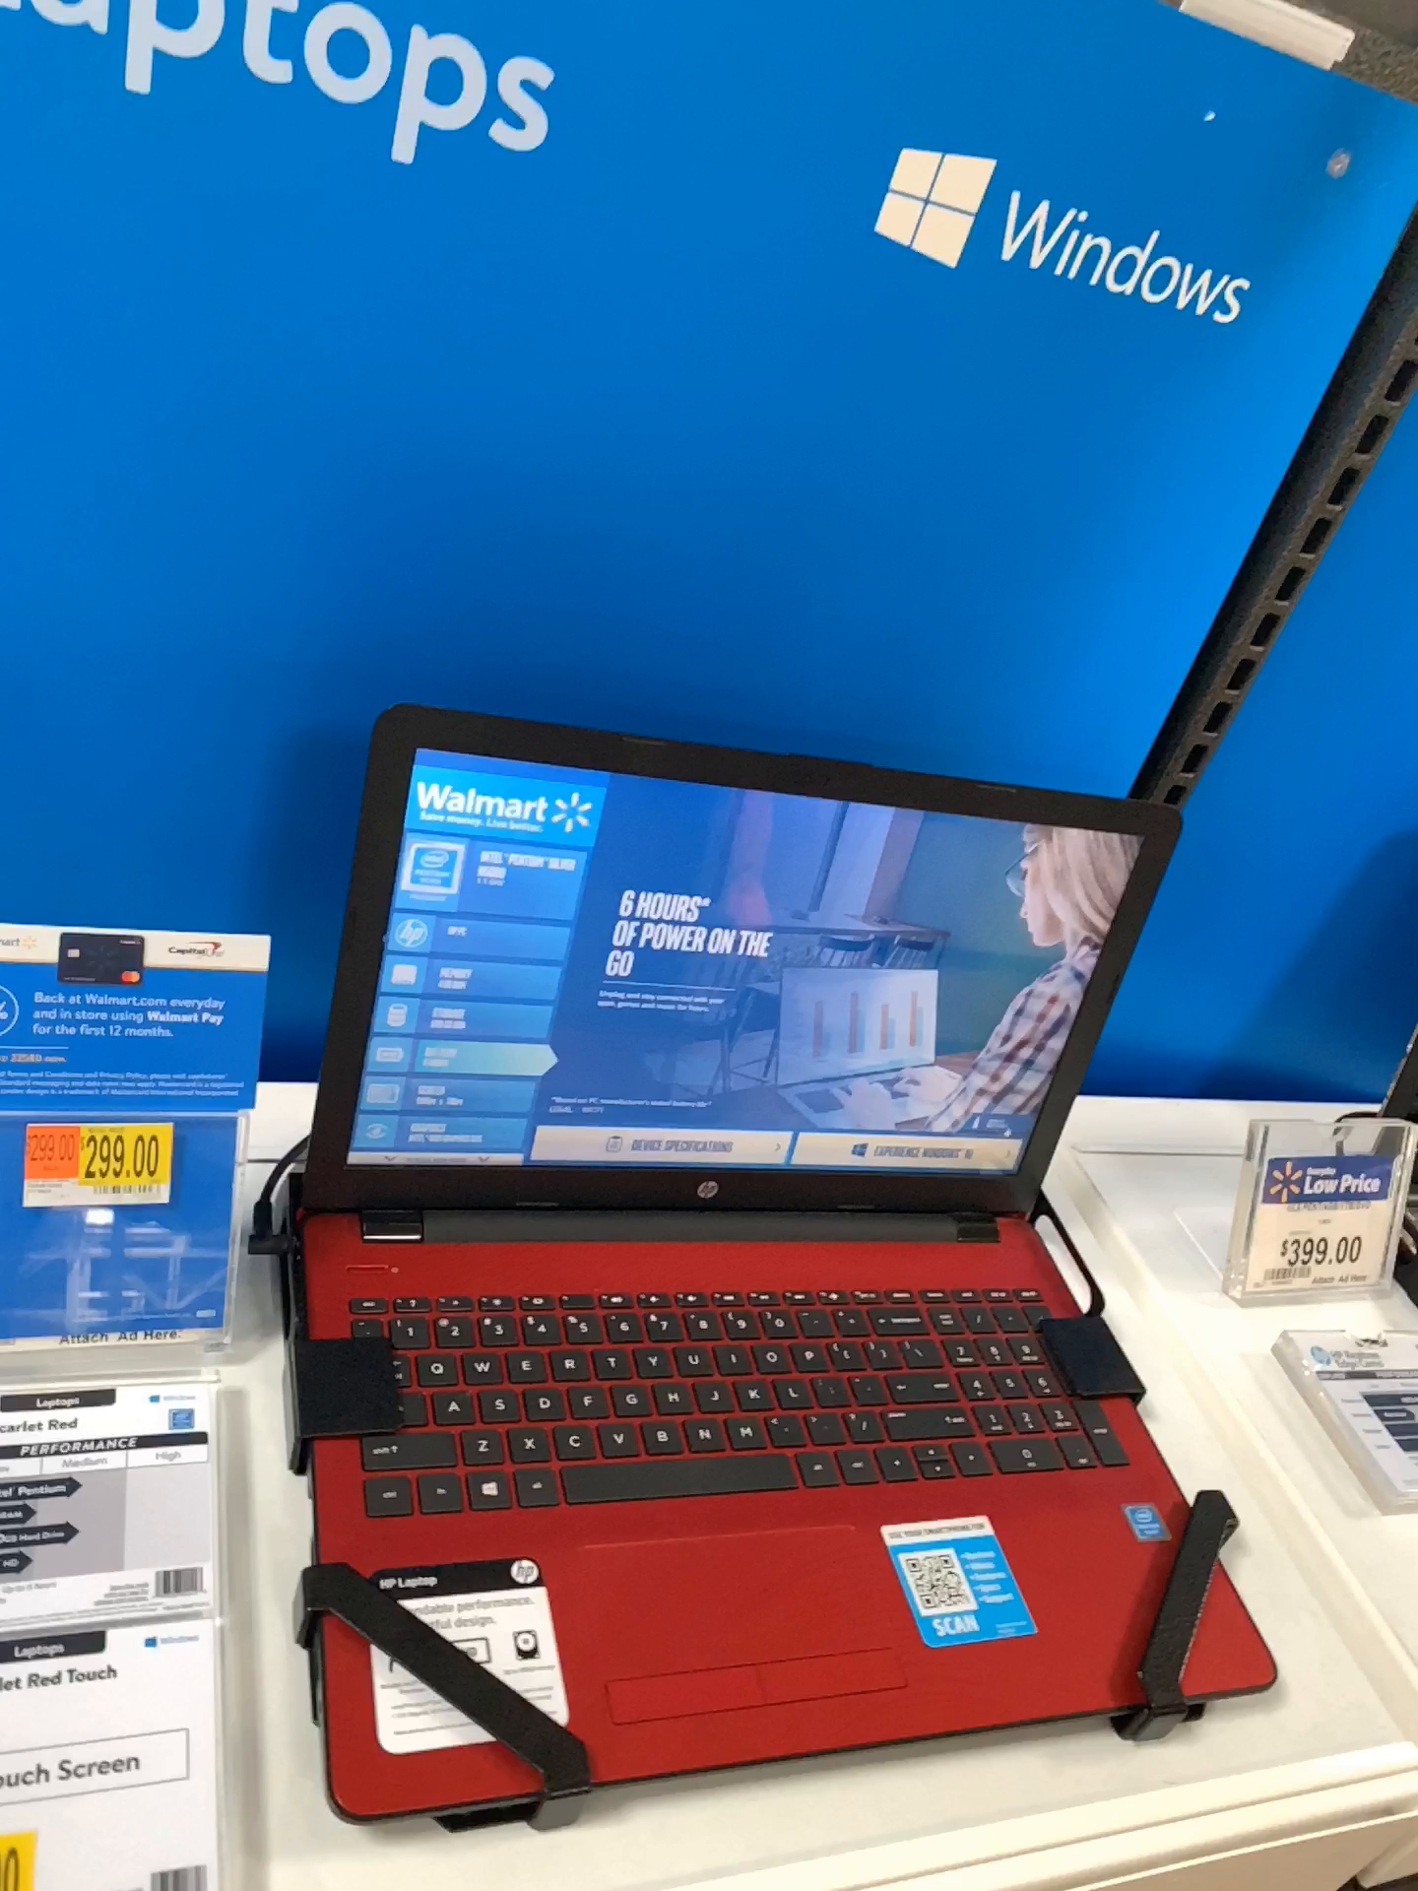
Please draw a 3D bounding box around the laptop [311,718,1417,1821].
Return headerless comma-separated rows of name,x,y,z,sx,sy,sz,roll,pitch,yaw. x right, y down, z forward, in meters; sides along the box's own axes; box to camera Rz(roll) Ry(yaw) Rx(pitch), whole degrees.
laptop,0.056,0.103,0.555,0.364,0.223,0.280,4,36,-22
